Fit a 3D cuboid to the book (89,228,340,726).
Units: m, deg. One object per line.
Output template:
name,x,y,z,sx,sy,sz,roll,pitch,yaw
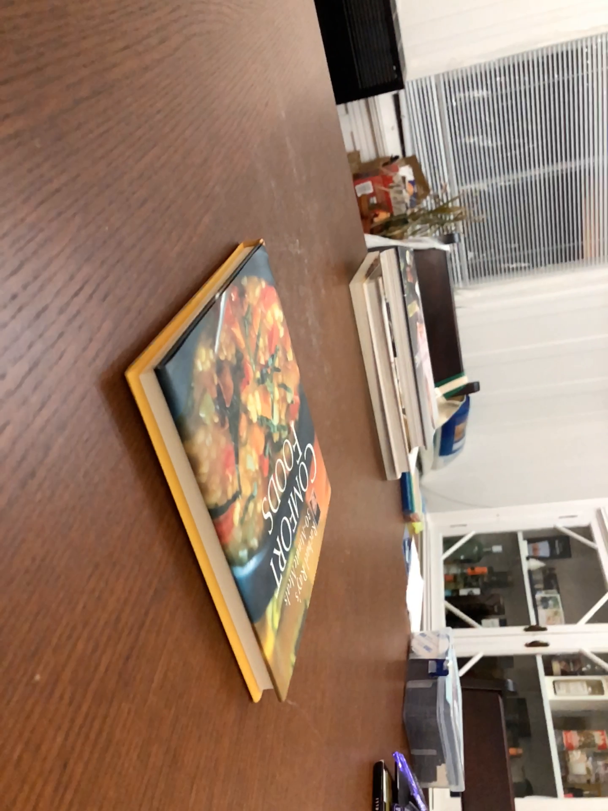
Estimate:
book,-0.028,0.028,0.391,0.201,0.030,0.210,-71,149,-60
